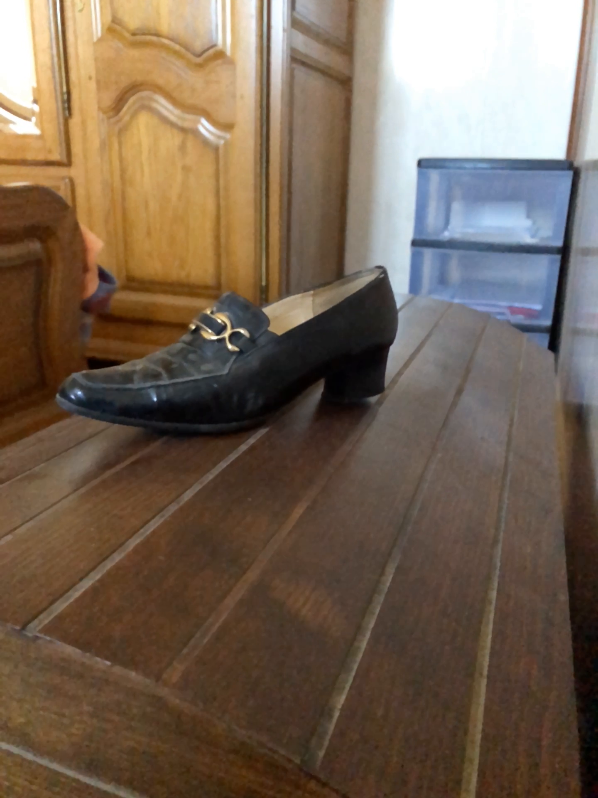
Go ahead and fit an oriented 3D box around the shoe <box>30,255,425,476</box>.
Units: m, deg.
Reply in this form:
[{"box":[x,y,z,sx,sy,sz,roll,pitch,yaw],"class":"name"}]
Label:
[{"box":[-0.039,-0.037,0.443,0.241,0.100,0.090,-11,20,-32],"class":"shoe"}]
